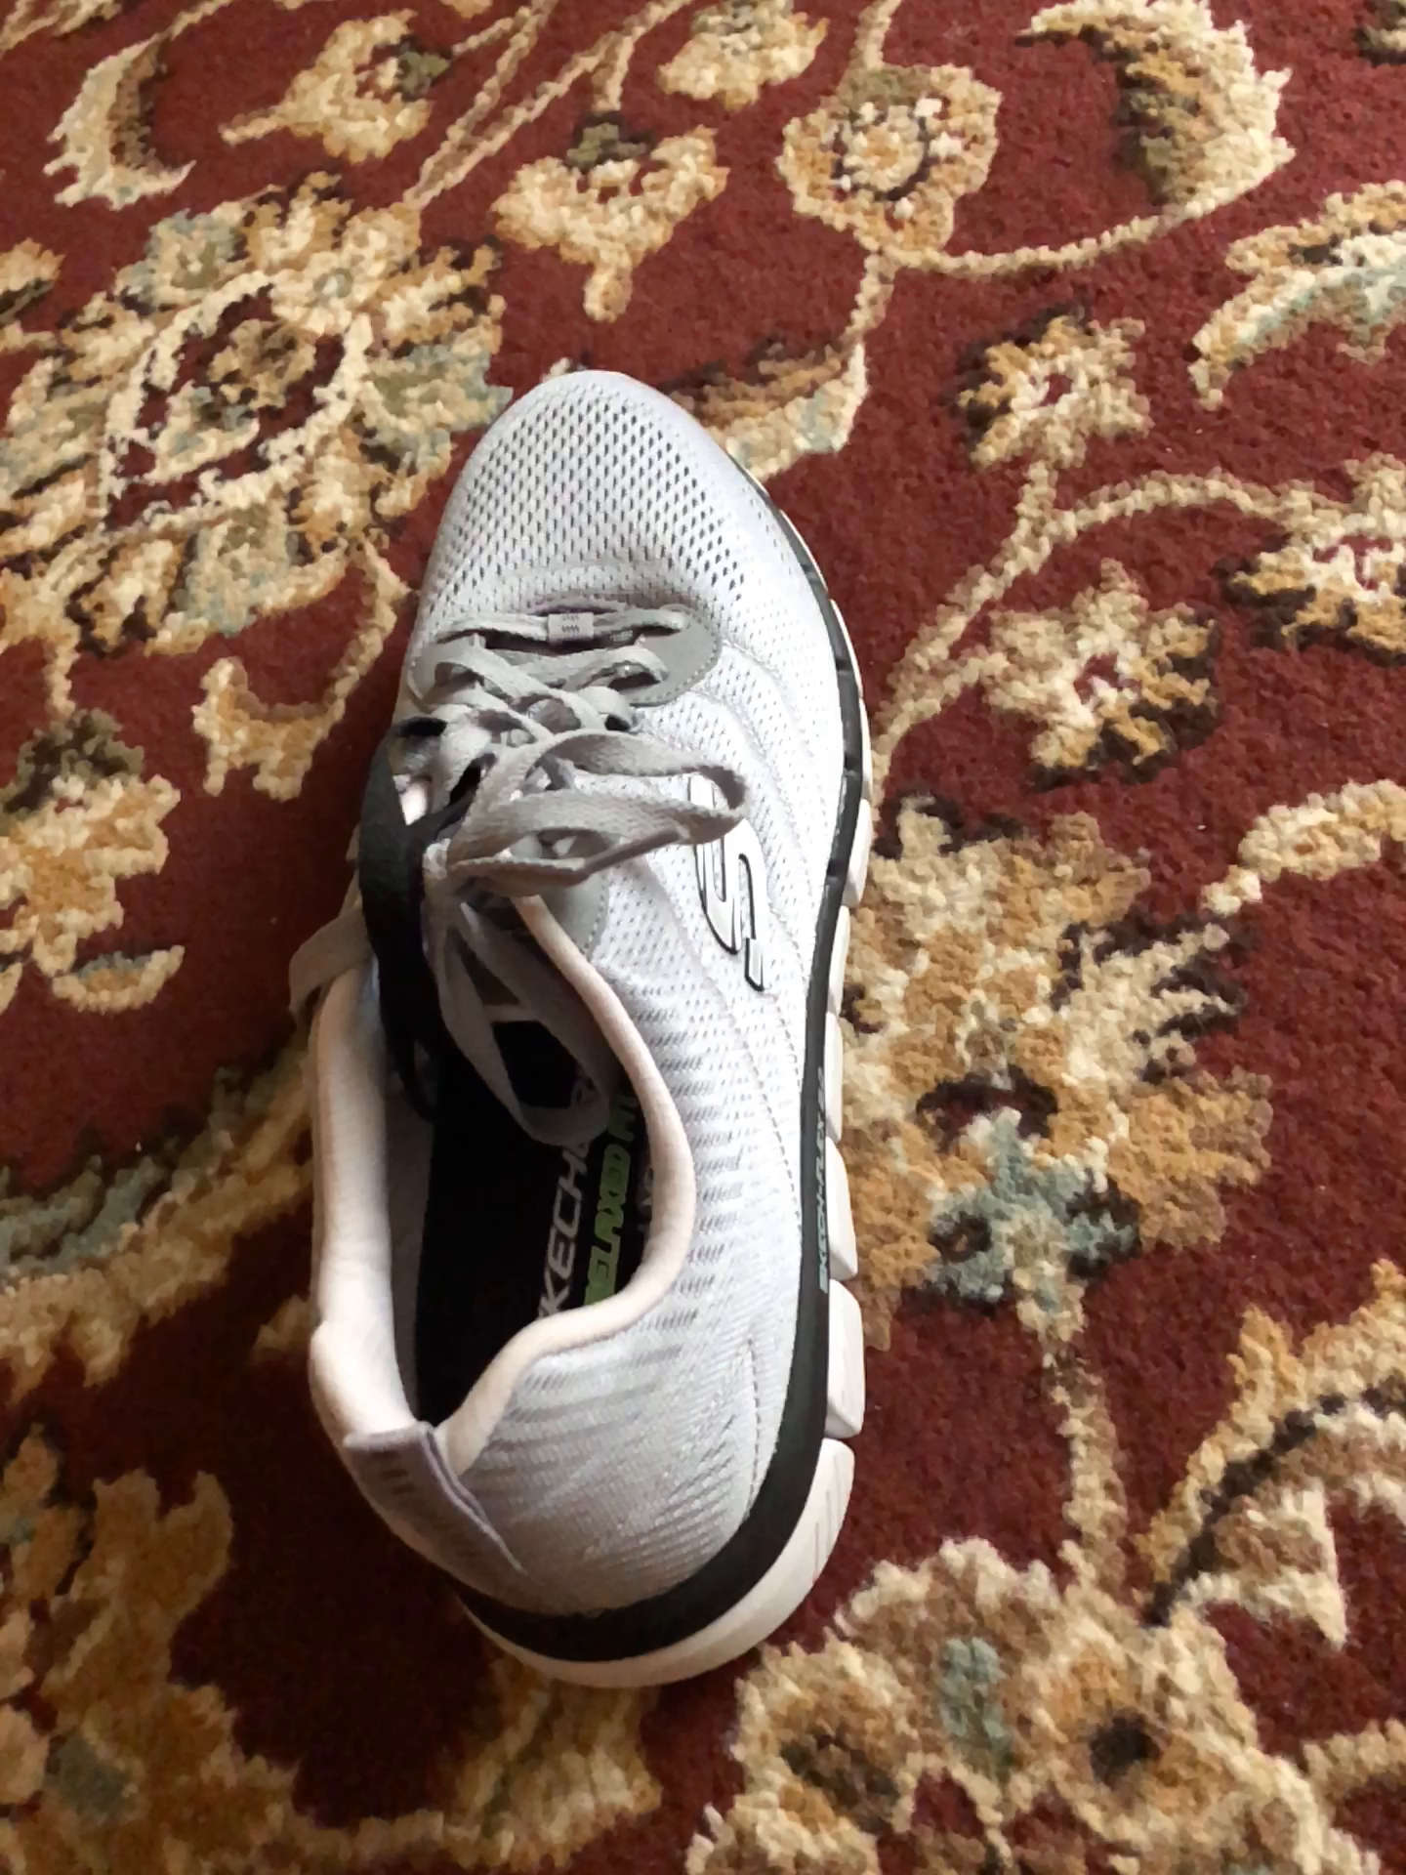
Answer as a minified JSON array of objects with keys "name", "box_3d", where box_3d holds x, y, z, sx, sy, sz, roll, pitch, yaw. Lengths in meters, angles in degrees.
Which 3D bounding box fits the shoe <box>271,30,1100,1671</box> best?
[{"name":"shoe","box_3d":[0.010,-0.019,0.318,0.100,0.130,0.300,-7,61,14]}]
